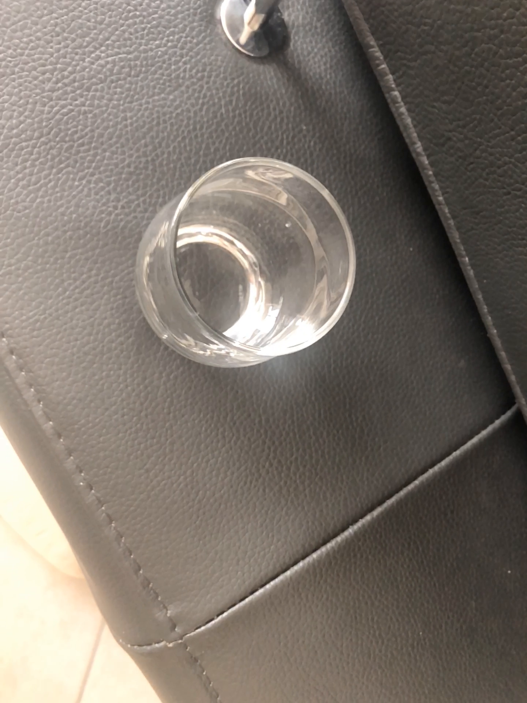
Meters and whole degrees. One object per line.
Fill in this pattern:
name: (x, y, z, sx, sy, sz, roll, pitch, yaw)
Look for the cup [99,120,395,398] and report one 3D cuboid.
cup: (-0.013, -0.033, 0.246, 0.080, 0.090, 0.080, 1, 88, -21)
